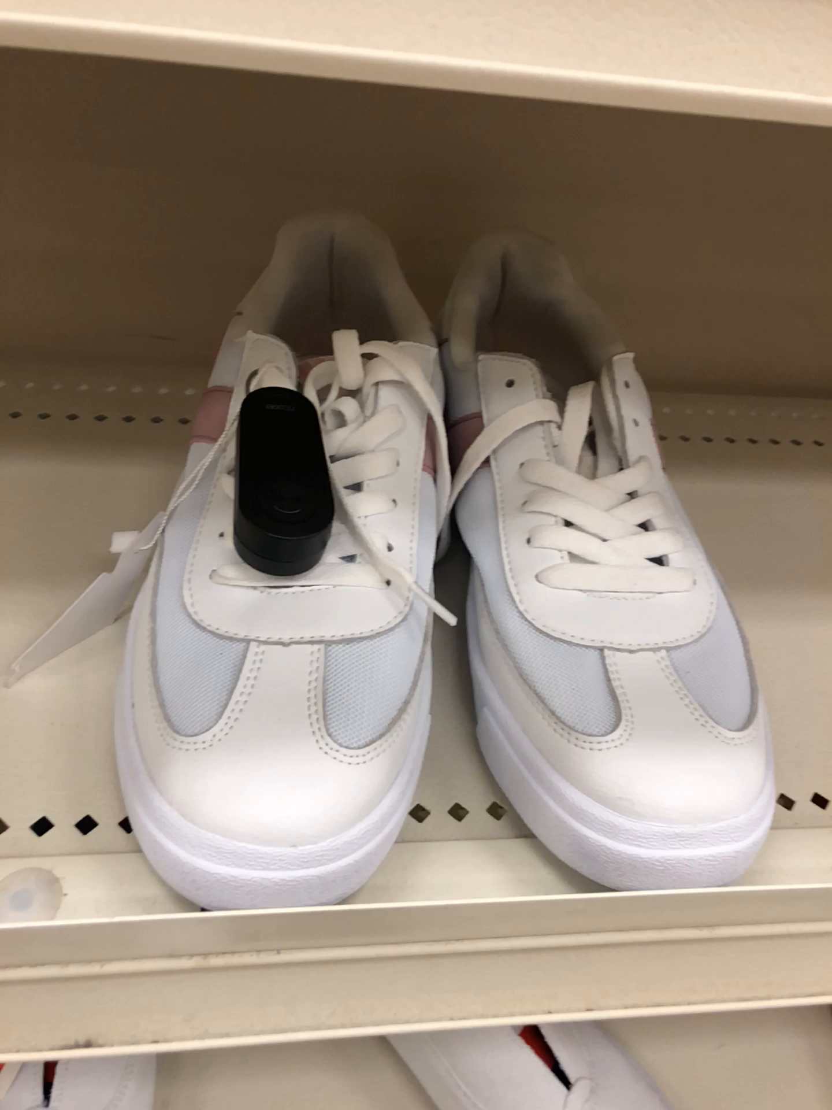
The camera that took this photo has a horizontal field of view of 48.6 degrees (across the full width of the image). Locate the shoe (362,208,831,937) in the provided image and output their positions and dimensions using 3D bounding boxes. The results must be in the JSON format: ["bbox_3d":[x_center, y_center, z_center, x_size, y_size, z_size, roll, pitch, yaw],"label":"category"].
[{"bbox_3d":[0.061,-0.050,0.383,0.120,0.119,0.393,0,28,-10],"label":"shoe"}]

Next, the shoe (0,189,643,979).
[{"bbox_3d":[-0.039,-0.050,0.353,0.120,0.119,0.393,3,27,-6],"label":"shoe"}]
